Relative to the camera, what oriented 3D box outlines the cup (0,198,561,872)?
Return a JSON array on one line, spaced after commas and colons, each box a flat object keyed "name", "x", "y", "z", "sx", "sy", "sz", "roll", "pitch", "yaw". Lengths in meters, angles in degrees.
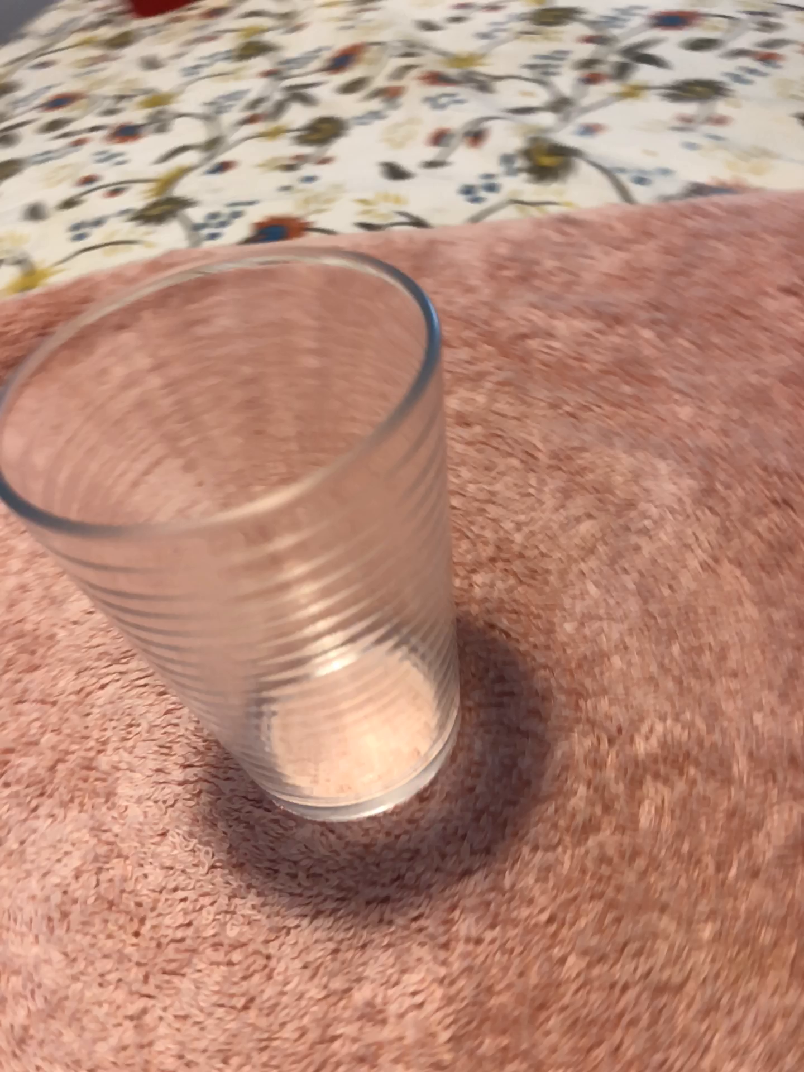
[{"name": "cup", "x": -0.016, "y": 0.004, "z": 0.169, "sx": 0.080, "sy": 0.089, "sz": 0.081, "roll": -7, "pitch": 46, "yaw": 7}]
